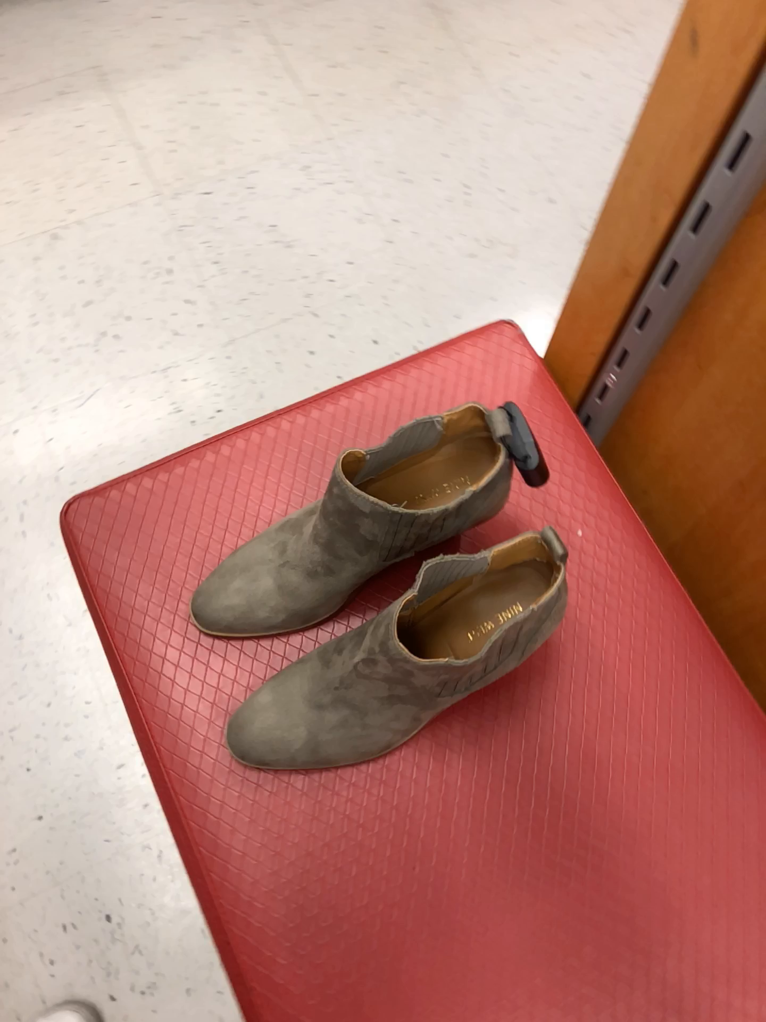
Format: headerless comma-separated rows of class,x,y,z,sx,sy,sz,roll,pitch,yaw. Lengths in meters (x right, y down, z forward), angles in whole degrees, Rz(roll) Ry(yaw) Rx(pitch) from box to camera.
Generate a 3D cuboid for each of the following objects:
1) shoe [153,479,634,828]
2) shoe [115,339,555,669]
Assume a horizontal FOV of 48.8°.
shoe,0.004,0.098,0.546,0.250,0.150,0.107,-20,70,-11
shoe,-0.031,0.002,0.590,0.250,0.160,0.097,-20,70,-11
